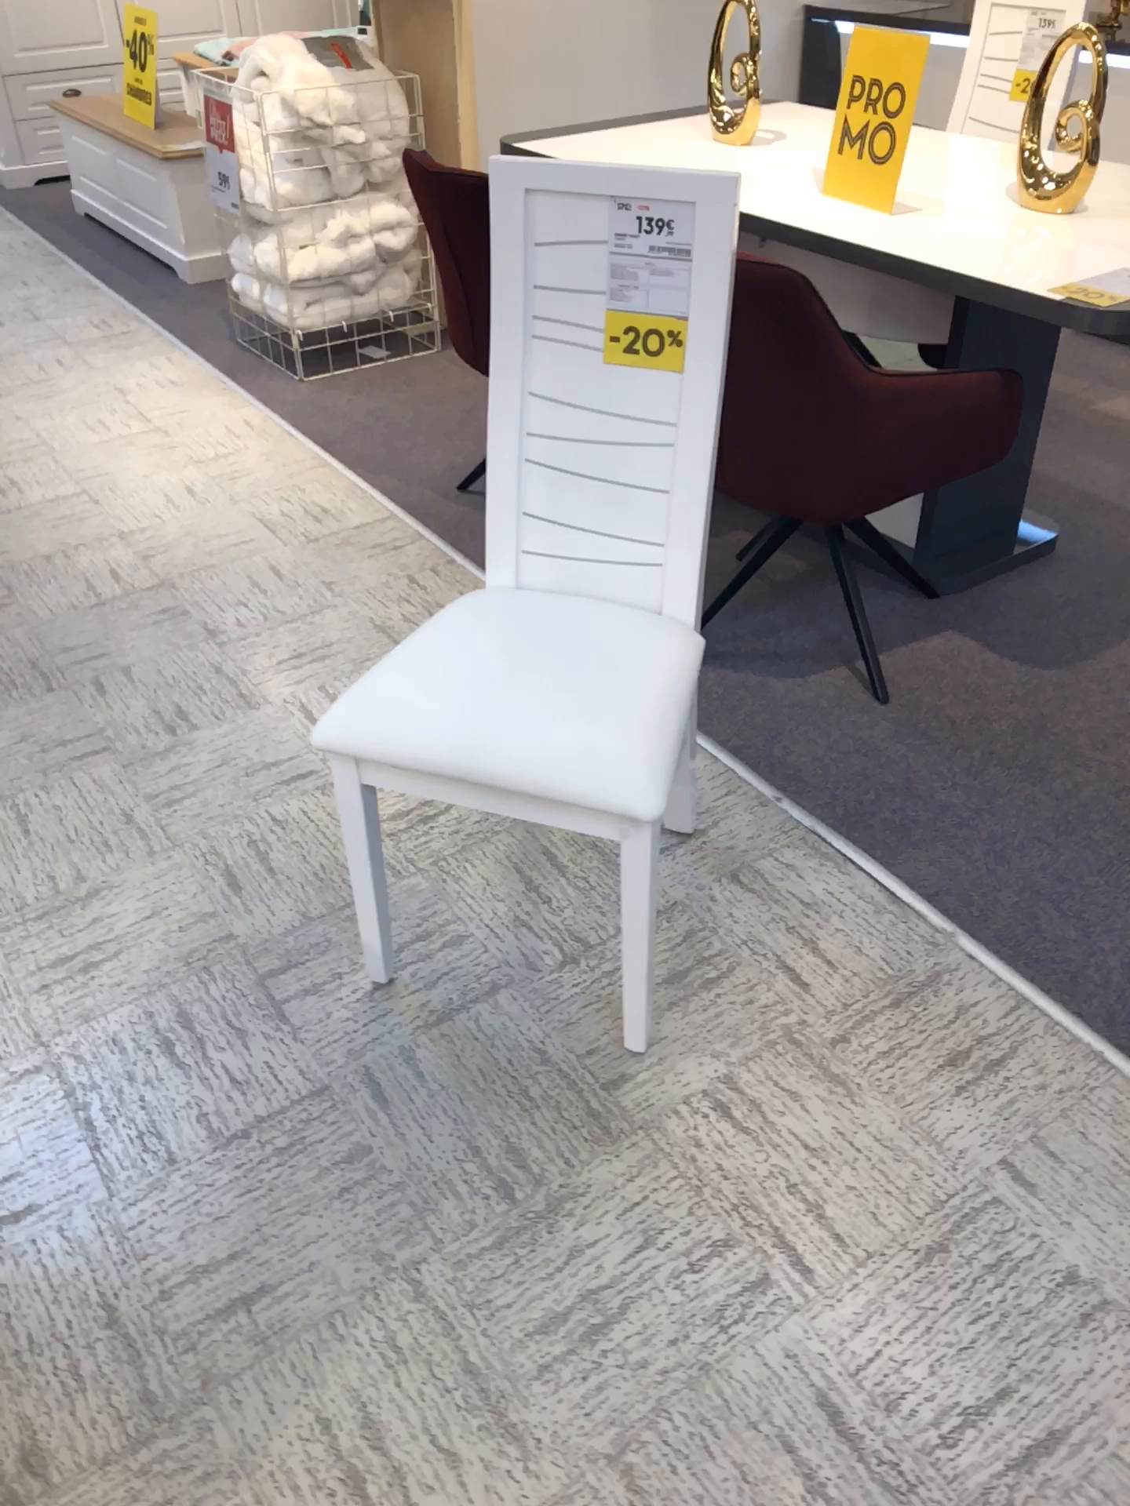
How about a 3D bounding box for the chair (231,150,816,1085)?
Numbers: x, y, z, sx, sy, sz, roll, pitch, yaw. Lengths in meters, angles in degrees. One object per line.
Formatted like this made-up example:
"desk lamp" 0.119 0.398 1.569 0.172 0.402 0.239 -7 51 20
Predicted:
"chair" -0.003 -0.164 1.595 0.450 1.004 0.544 11 38 16
